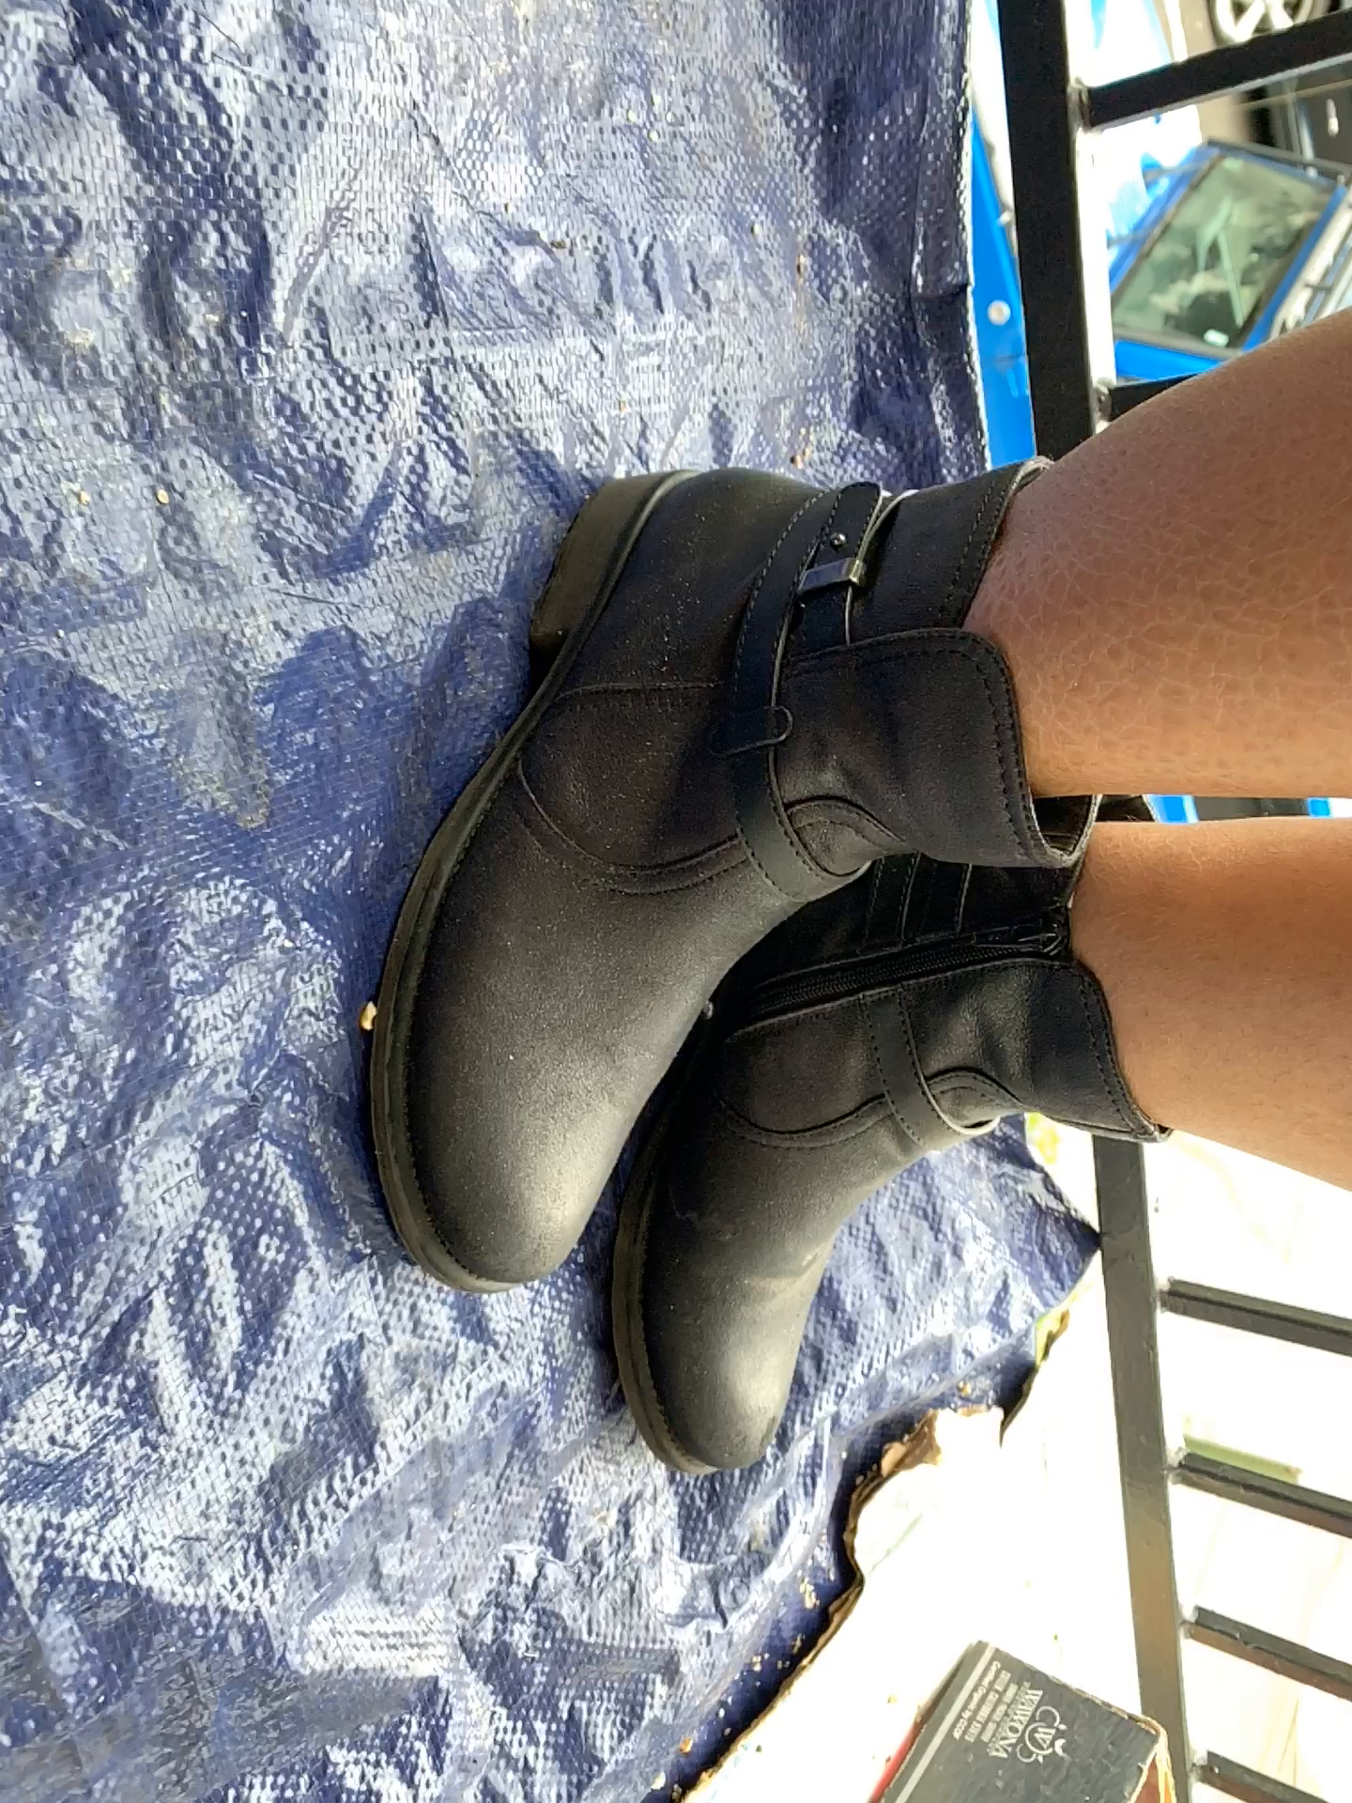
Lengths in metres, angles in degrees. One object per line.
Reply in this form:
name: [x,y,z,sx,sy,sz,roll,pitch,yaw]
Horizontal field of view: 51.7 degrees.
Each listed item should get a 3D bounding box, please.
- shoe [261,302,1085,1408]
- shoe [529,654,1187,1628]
shoe: [0.009,-0.018,0.413,0.101,0.129,0.280,37,66,-46]
shoe: [0.070,0.071,0.463,0.111,0.109,0.280,34,68,-47]
